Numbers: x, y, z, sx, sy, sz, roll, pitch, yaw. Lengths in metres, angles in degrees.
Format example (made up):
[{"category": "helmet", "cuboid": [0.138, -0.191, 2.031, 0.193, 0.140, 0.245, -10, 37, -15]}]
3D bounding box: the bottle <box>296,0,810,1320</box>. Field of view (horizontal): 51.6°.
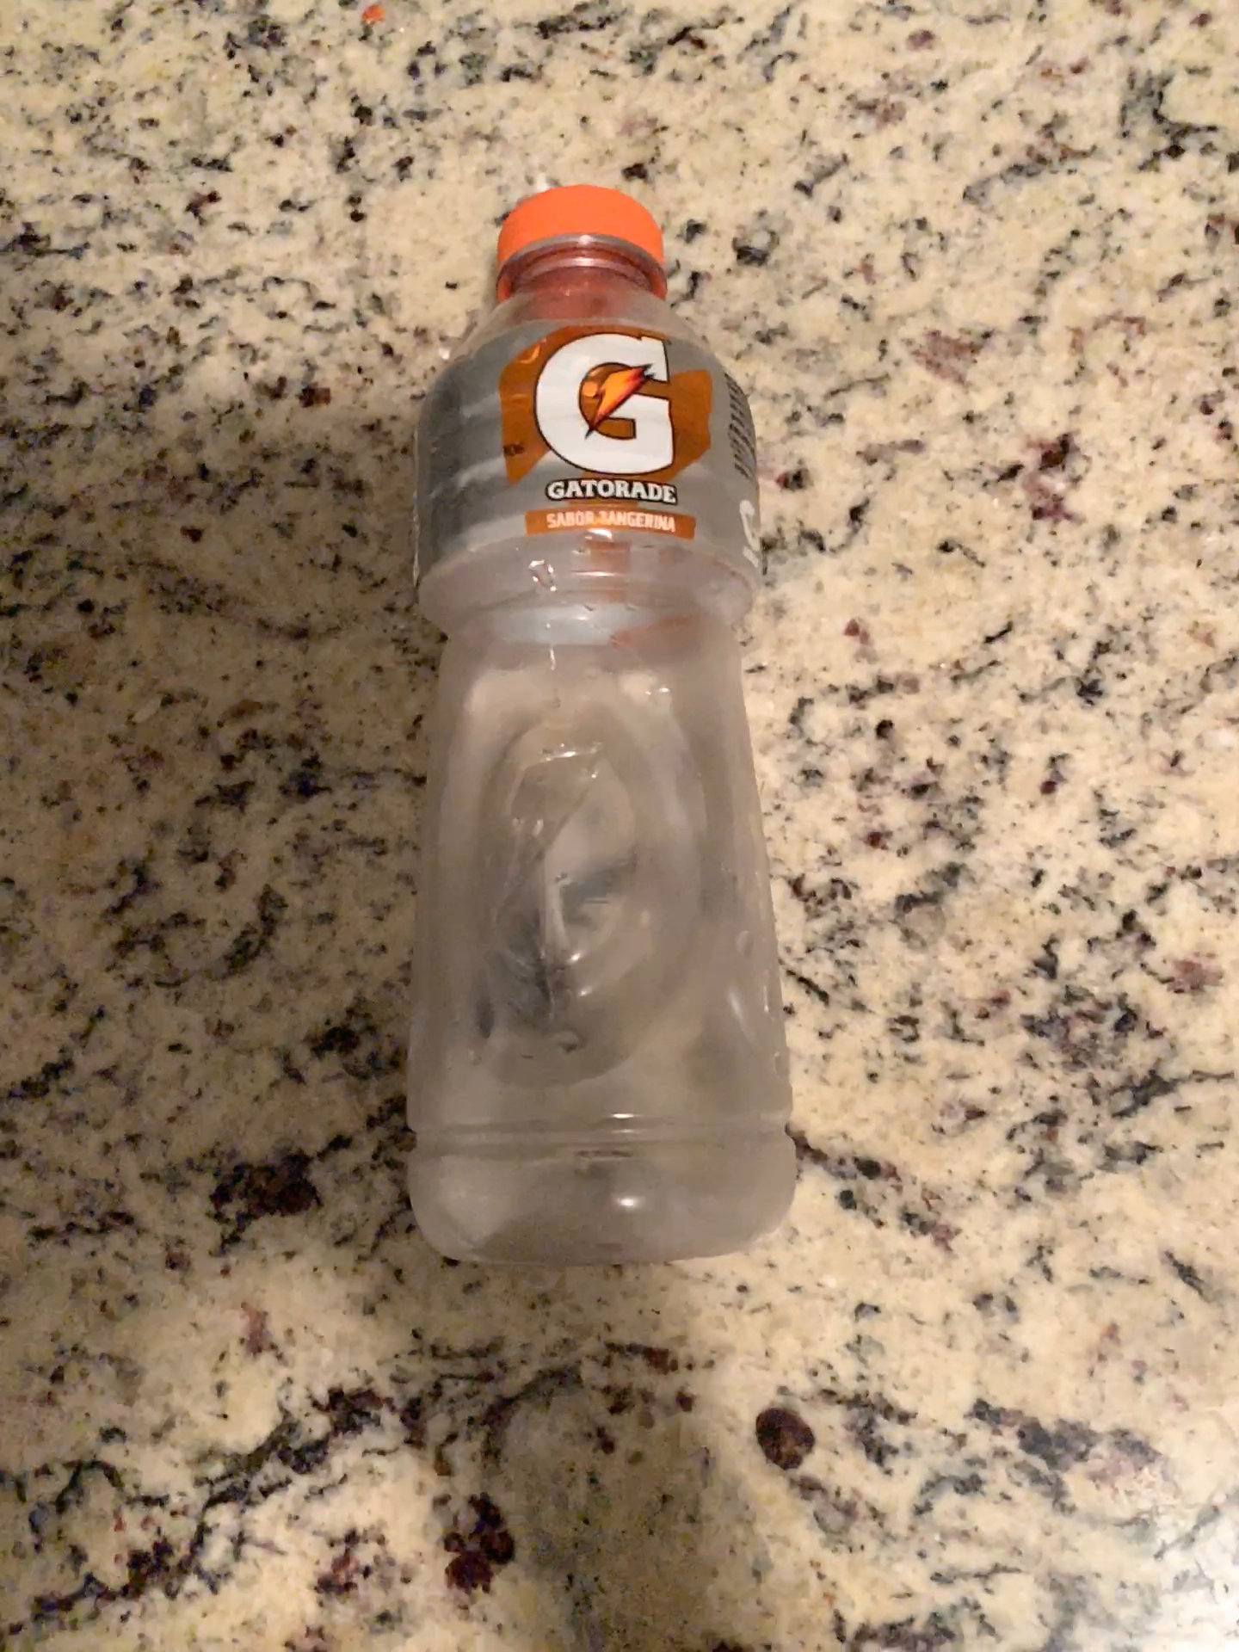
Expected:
[{"category": "bottle", "cuboid": [-0.009, -0.033, 0.232, 0.070, 0.070, 0.220, -4, 78, 10]}]
